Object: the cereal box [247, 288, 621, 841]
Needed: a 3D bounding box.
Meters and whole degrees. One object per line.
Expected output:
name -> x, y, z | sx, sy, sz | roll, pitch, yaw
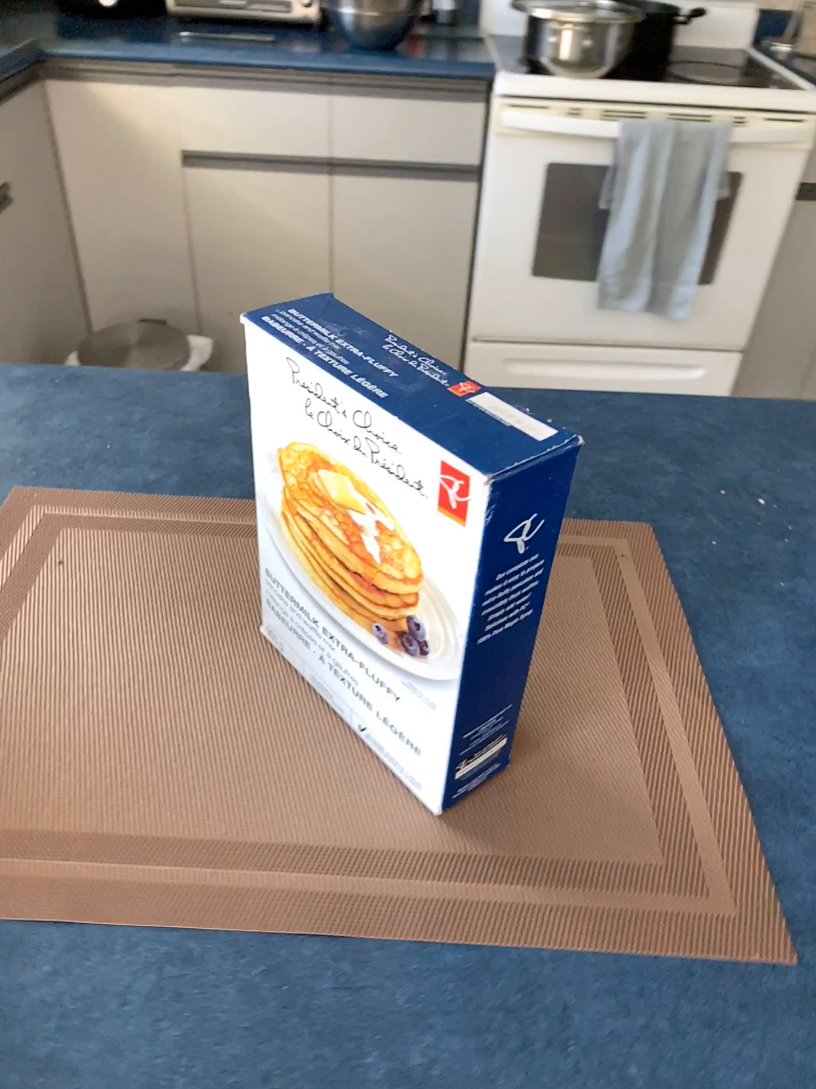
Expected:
cereal box -> -0.002, 0.010, 0.406 | 0.050, 0.208, 0.171 | -27, 47, -33
